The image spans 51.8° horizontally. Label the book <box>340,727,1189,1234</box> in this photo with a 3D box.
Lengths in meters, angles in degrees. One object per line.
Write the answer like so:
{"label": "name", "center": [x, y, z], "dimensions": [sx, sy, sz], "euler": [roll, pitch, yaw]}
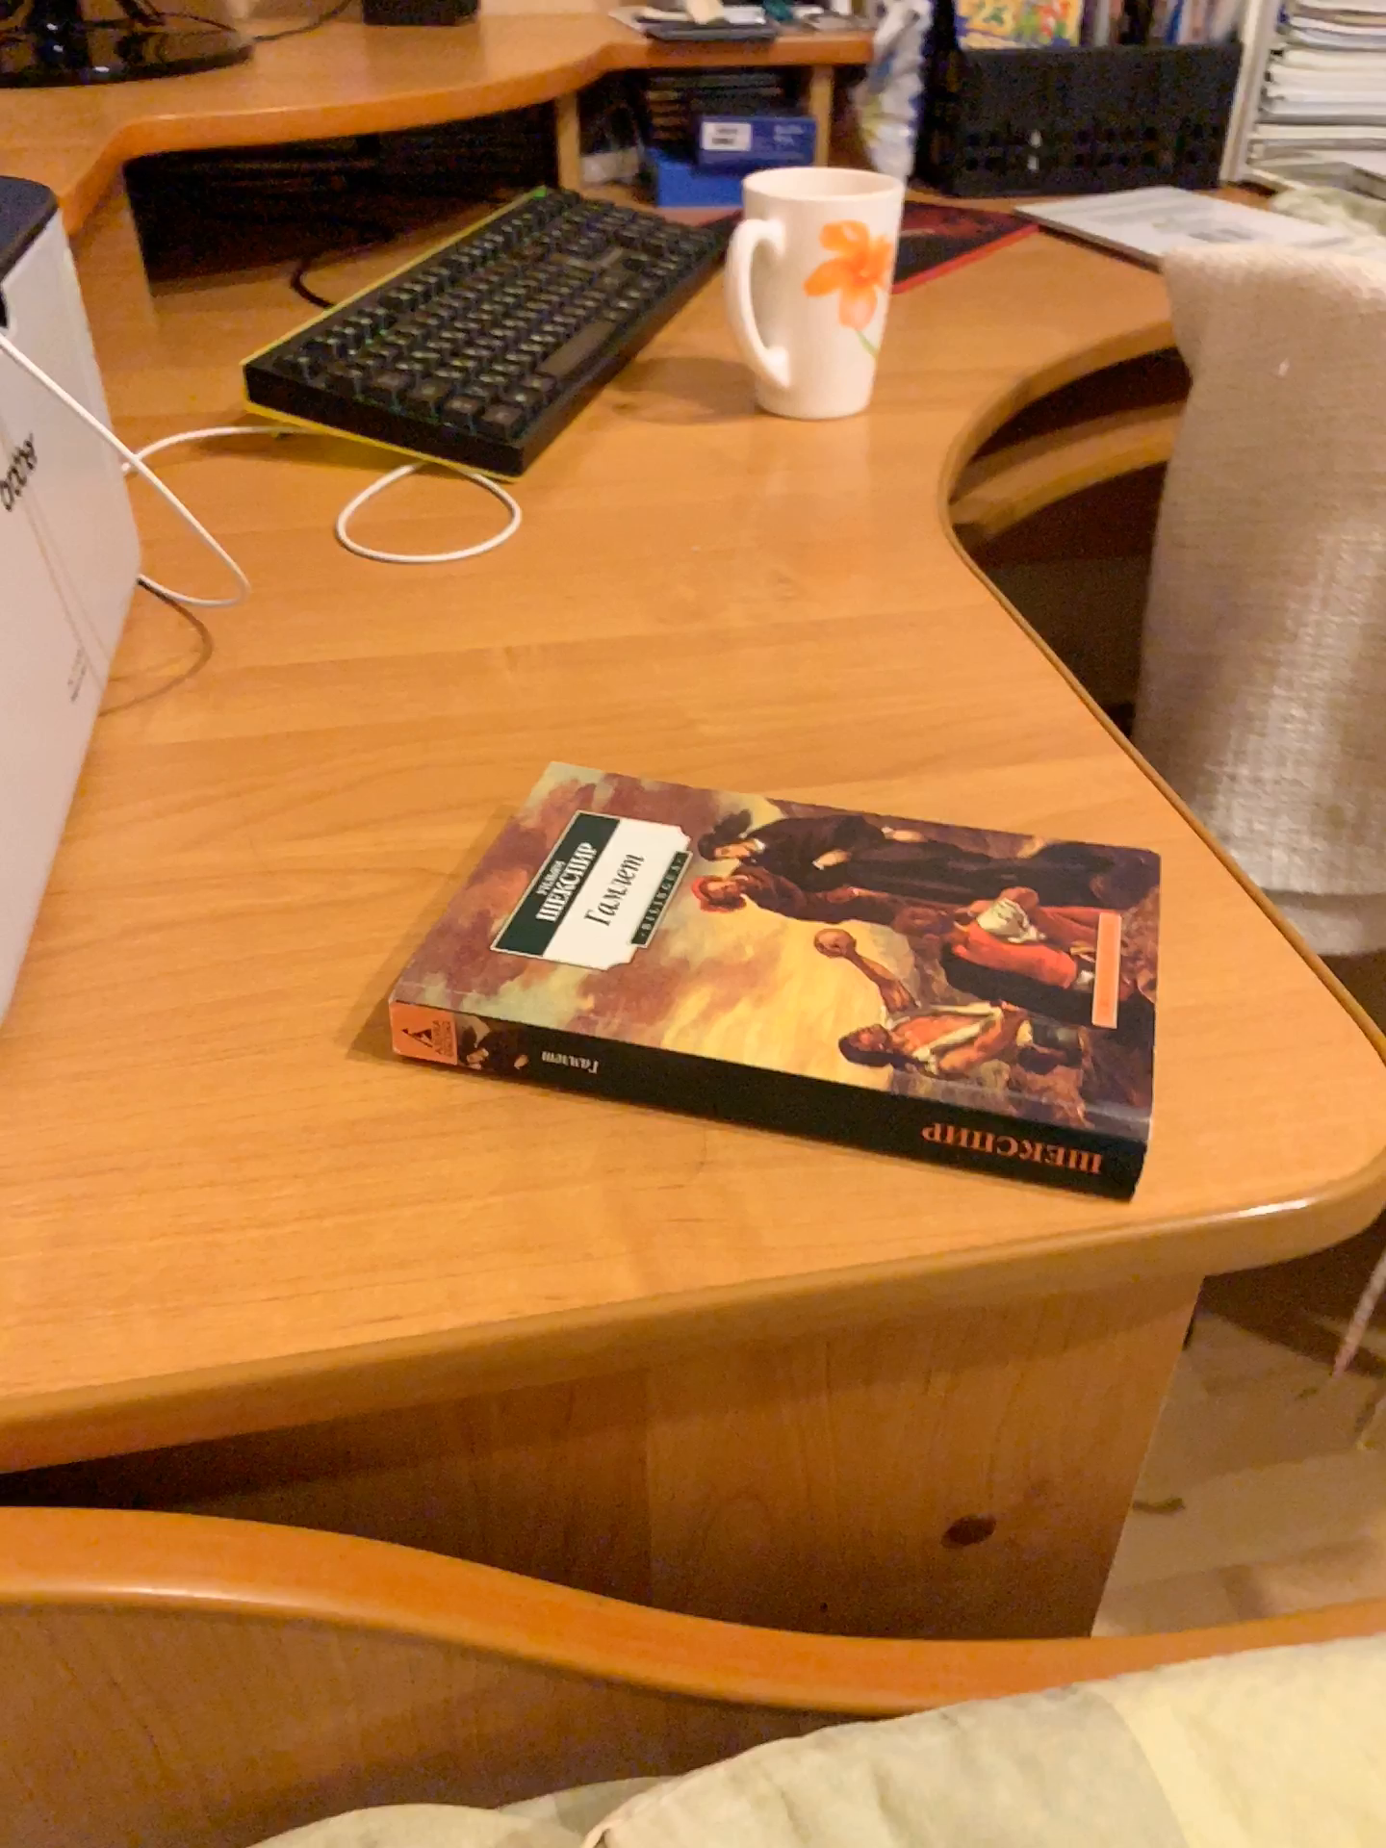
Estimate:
{"label": "book", "center": [0.026, 0.004, 0.368], "dimensions": [0.190, 0.030, 0.121], "euler": [10, 37, 13]}
